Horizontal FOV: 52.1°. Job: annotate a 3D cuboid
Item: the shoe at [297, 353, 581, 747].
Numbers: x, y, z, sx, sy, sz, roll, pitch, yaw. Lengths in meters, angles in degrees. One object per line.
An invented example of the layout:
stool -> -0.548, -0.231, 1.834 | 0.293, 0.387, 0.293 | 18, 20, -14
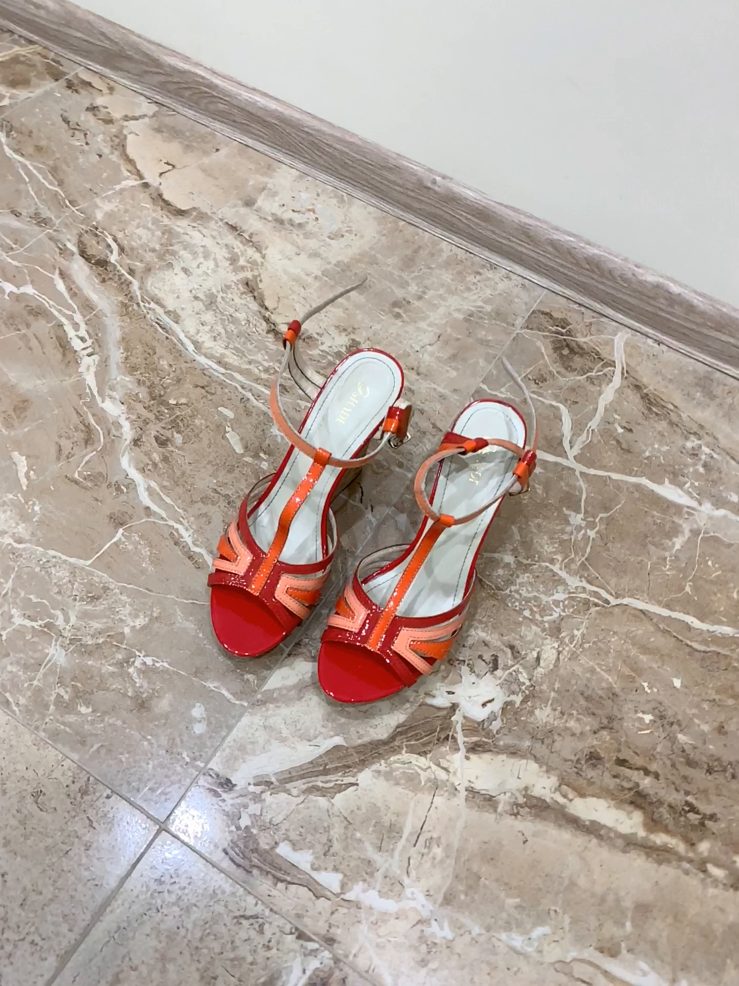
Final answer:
shoe -> 0.044, 0.037, 0.503 | 0.080, 0.130, 0.218 | 28, 61, 10

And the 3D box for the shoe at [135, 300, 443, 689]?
shoe -> -0.046, 0.001, 0.520 | 0.083, 0.140, 0.218 | 28, 61, 10
